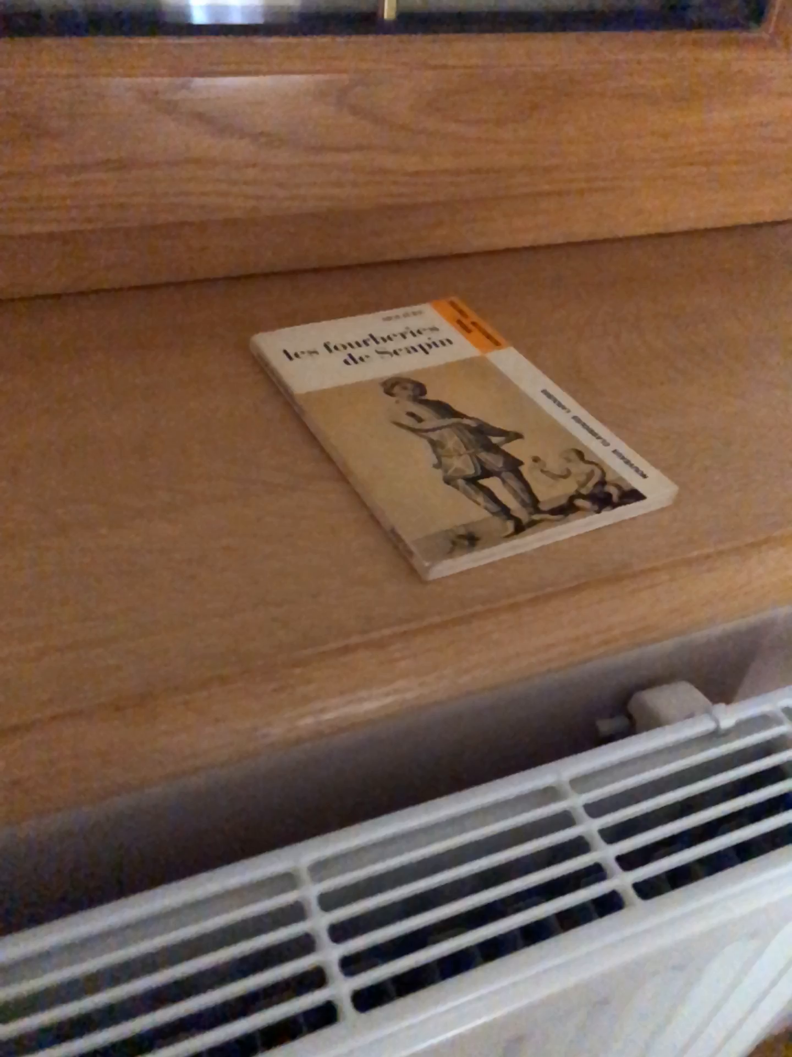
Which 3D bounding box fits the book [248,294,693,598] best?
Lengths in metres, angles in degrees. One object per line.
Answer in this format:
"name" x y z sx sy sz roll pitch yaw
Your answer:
"book" 0.023 -0.049 0.377 0.117 0.015 0.175 -16 45 -23
